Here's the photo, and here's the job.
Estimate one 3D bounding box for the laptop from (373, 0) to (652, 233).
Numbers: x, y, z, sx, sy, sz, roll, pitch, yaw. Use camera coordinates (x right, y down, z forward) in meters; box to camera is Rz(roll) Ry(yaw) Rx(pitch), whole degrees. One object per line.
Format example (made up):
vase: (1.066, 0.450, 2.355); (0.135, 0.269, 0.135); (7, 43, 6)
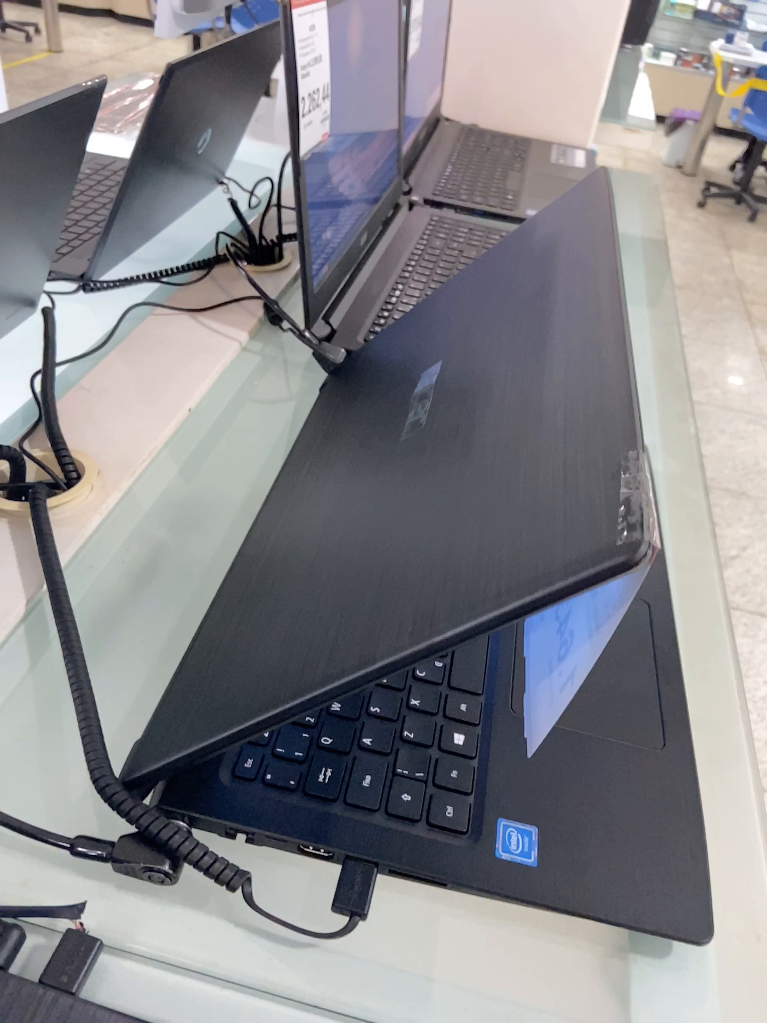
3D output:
laptop: (0.171, -0.582, 1.035); (0.283, 0.241, 0.325); (16, 42, 9)

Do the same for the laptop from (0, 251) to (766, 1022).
laptop: (-0.112, 0.202, 0.040); (0.325, 0.231, 0.402); (15, 38, 6)

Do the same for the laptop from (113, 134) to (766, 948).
laptop: (0.066, -0.035, 0.419); (0.238, 0.185, 0.381); (12, 39, 4)

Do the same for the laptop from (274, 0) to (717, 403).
laptop: (0.105, -0.331, 0.744); (0.283, 0.247, 0.401); (13, 38, 5)
